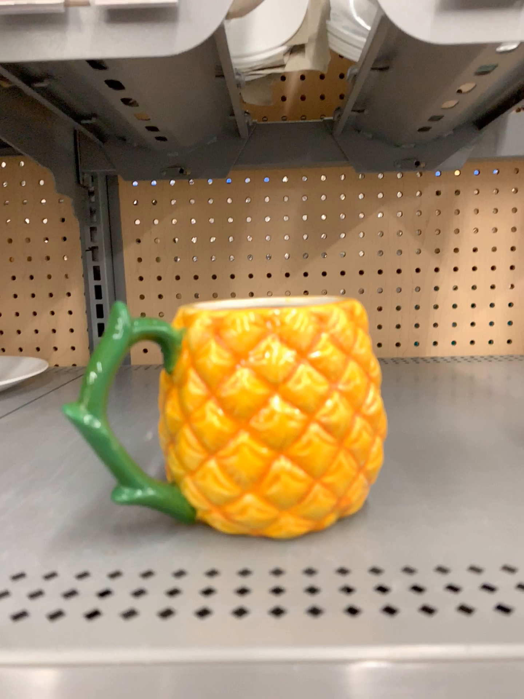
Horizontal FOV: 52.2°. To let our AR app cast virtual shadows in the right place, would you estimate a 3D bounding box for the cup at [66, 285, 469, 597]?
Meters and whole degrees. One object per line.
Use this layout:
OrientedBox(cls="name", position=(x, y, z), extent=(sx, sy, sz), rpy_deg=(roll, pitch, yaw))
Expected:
OrientedBox(cls="cup", position=(-0.002, 0.023, 0.253), extent=(0.160, 0.100, 0.100), rpy_deg=(-5, 8, -22))
